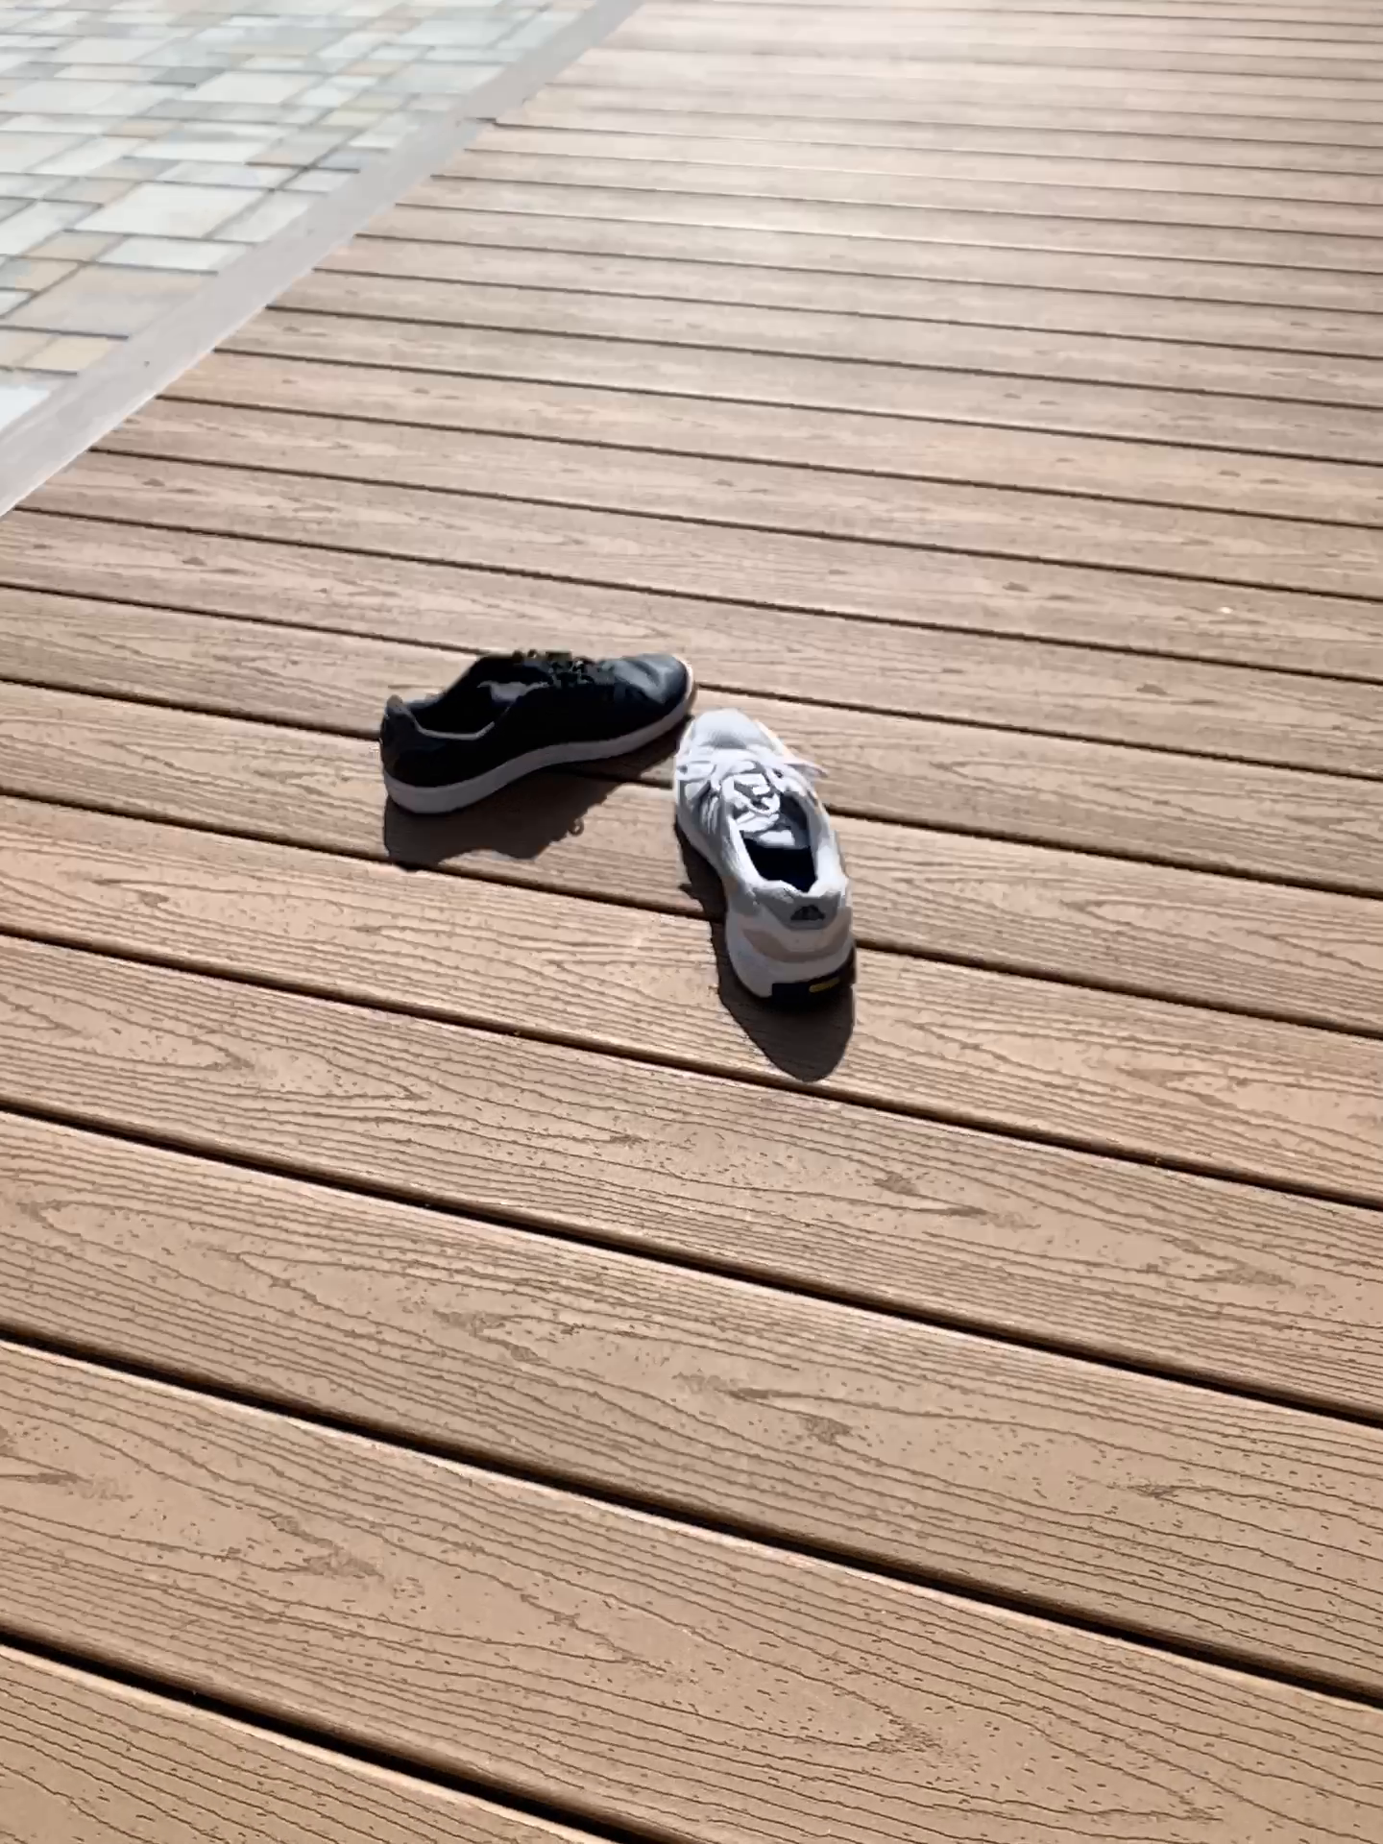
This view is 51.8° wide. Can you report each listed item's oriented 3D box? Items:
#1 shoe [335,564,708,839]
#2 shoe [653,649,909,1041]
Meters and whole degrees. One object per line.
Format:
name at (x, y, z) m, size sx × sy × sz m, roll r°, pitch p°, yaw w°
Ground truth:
shoe at (-0.128, -0.177, 1.117) m, size 0.260 × 0.099 × 0.111 m, roll -22°, pitch 47°, yaw -20°
shoe at (0.054, -0.063, 1.012) m, size 0.110 × 0.119 × 0.271 m, roll -9°, pitch 44°, yaw -8°
